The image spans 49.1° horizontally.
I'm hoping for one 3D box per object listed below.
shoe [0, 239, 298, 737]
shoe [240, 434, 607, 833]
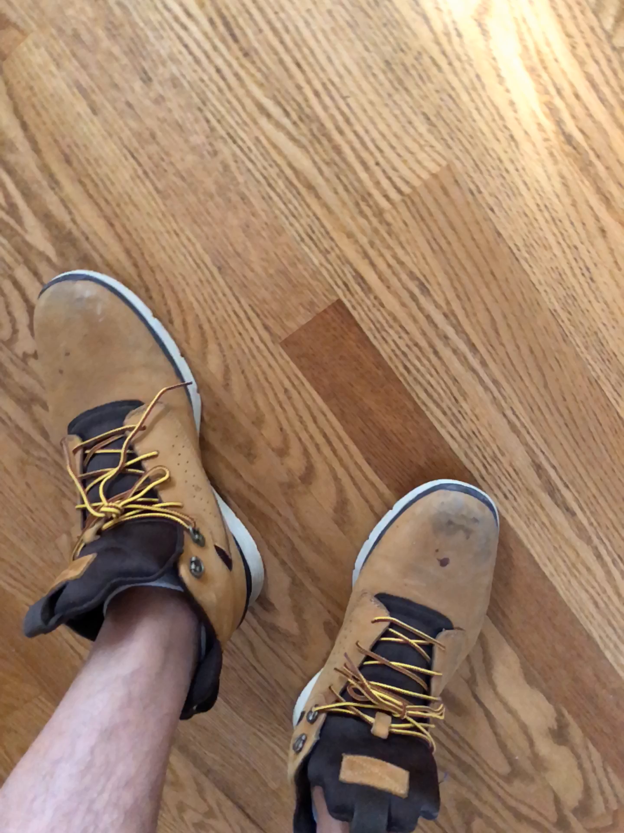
[{"bbox_3d":[-0.140,0.047,0.522,0.130,0.140,0.320,-19,98,13],"label":"shoe"},{"bbox_3d":[0.068,0.197,0.519,0.130,0.170,0.301,22,122,0],"label":"shoe"}]
